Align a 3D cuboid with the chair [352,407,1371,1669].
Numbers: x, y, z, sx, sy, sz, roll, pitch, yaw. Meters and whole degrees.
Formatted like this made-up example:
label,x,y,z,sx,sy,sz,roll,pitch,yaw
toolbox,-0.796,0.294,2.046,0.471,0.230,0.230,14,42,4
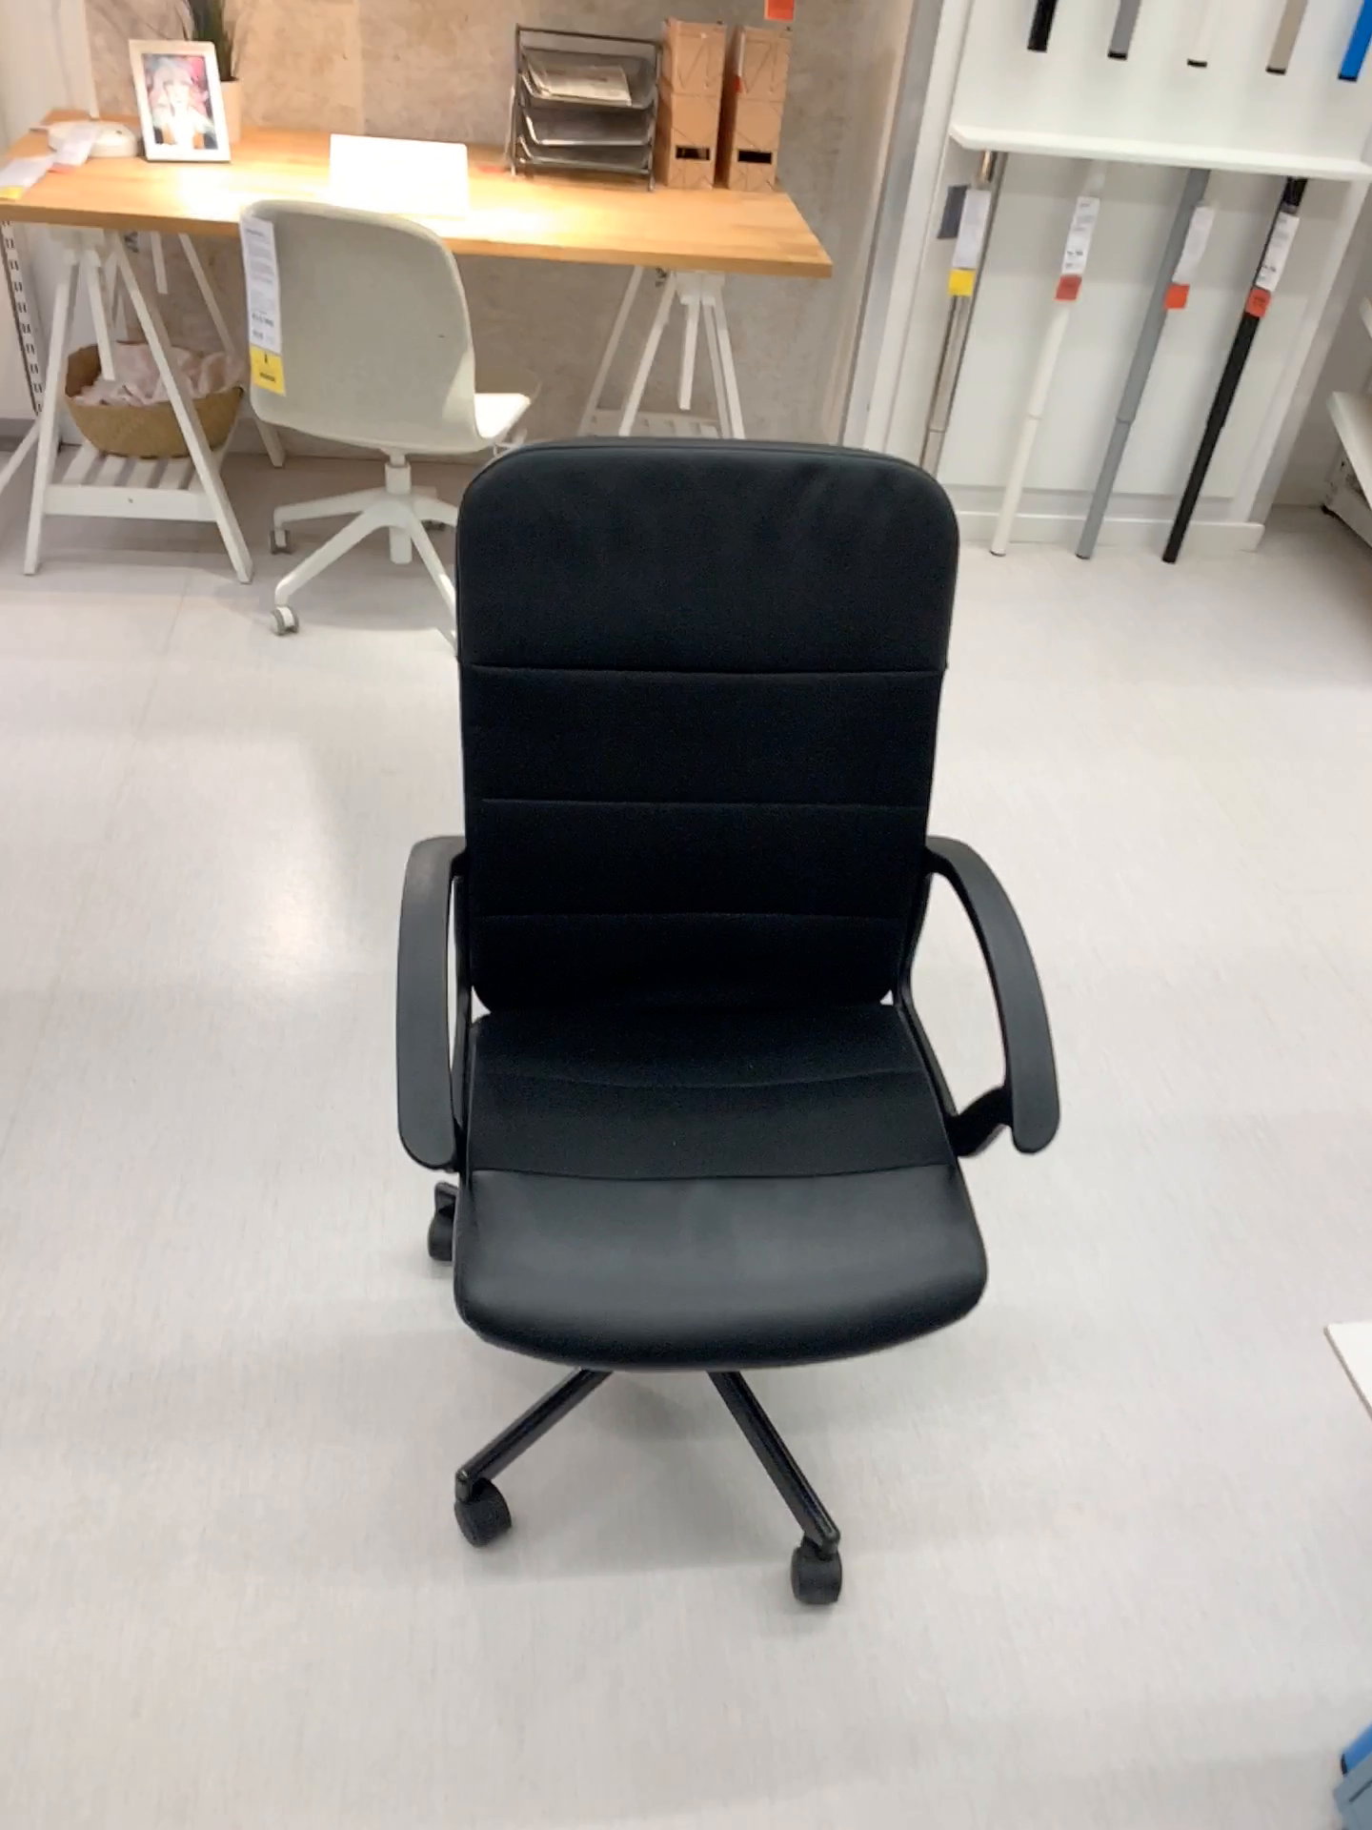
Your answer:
label,x,y,z,sx,sy,sz,roll,pitch,yaw
chair,0.035,0.144,1.293,0.610,0.996,0.582,-1,40,-11
